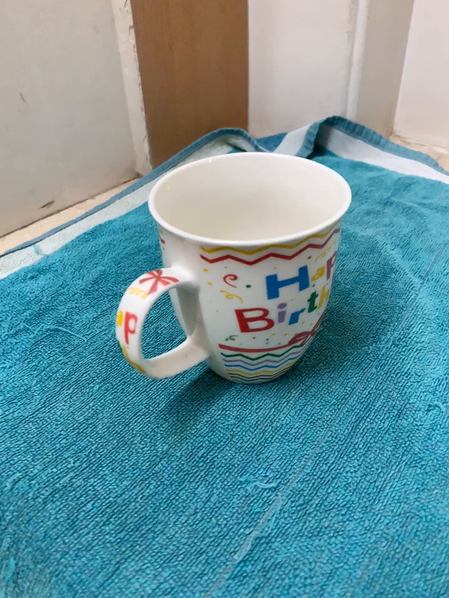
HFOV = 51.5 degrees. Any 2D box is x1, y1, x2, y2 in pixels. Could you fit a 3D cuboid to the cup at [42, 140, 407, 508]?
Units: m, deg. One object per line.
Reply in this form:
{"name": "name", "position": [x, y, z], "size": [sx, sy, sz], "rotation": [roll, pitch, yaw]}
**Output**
{"name": "cup", "position": [0.007, -0.001, 0.227], "size": [0.090, 0.099, 0.131], "rotation": [28, 47, 34]}
